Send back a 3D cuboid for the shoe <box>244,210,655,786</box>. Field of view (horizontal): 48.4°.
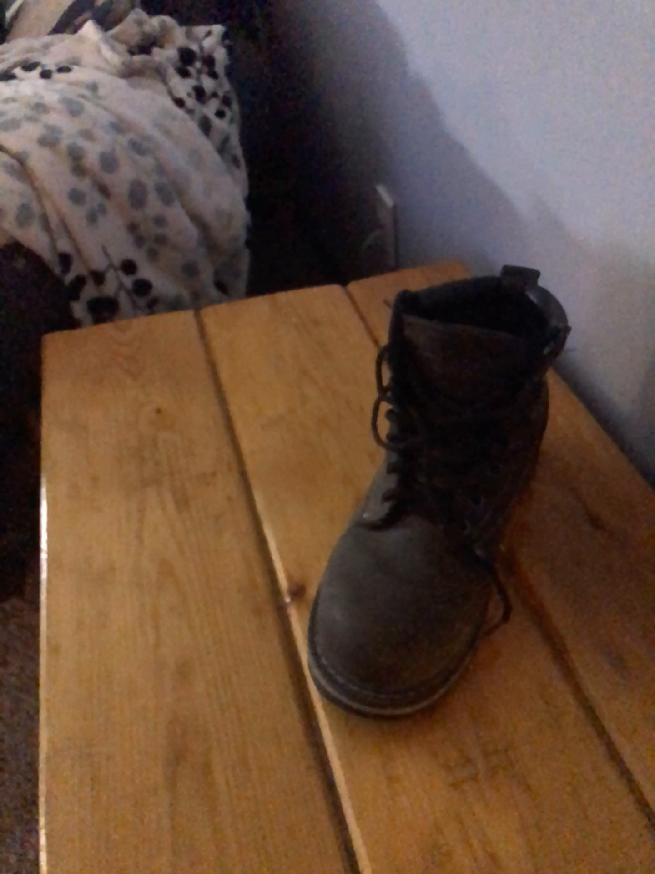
[{"bbox_3d":[0.099,0.016,0.487,0.130,0.189,0.321,19,47,23],"label":"shoe"}]
